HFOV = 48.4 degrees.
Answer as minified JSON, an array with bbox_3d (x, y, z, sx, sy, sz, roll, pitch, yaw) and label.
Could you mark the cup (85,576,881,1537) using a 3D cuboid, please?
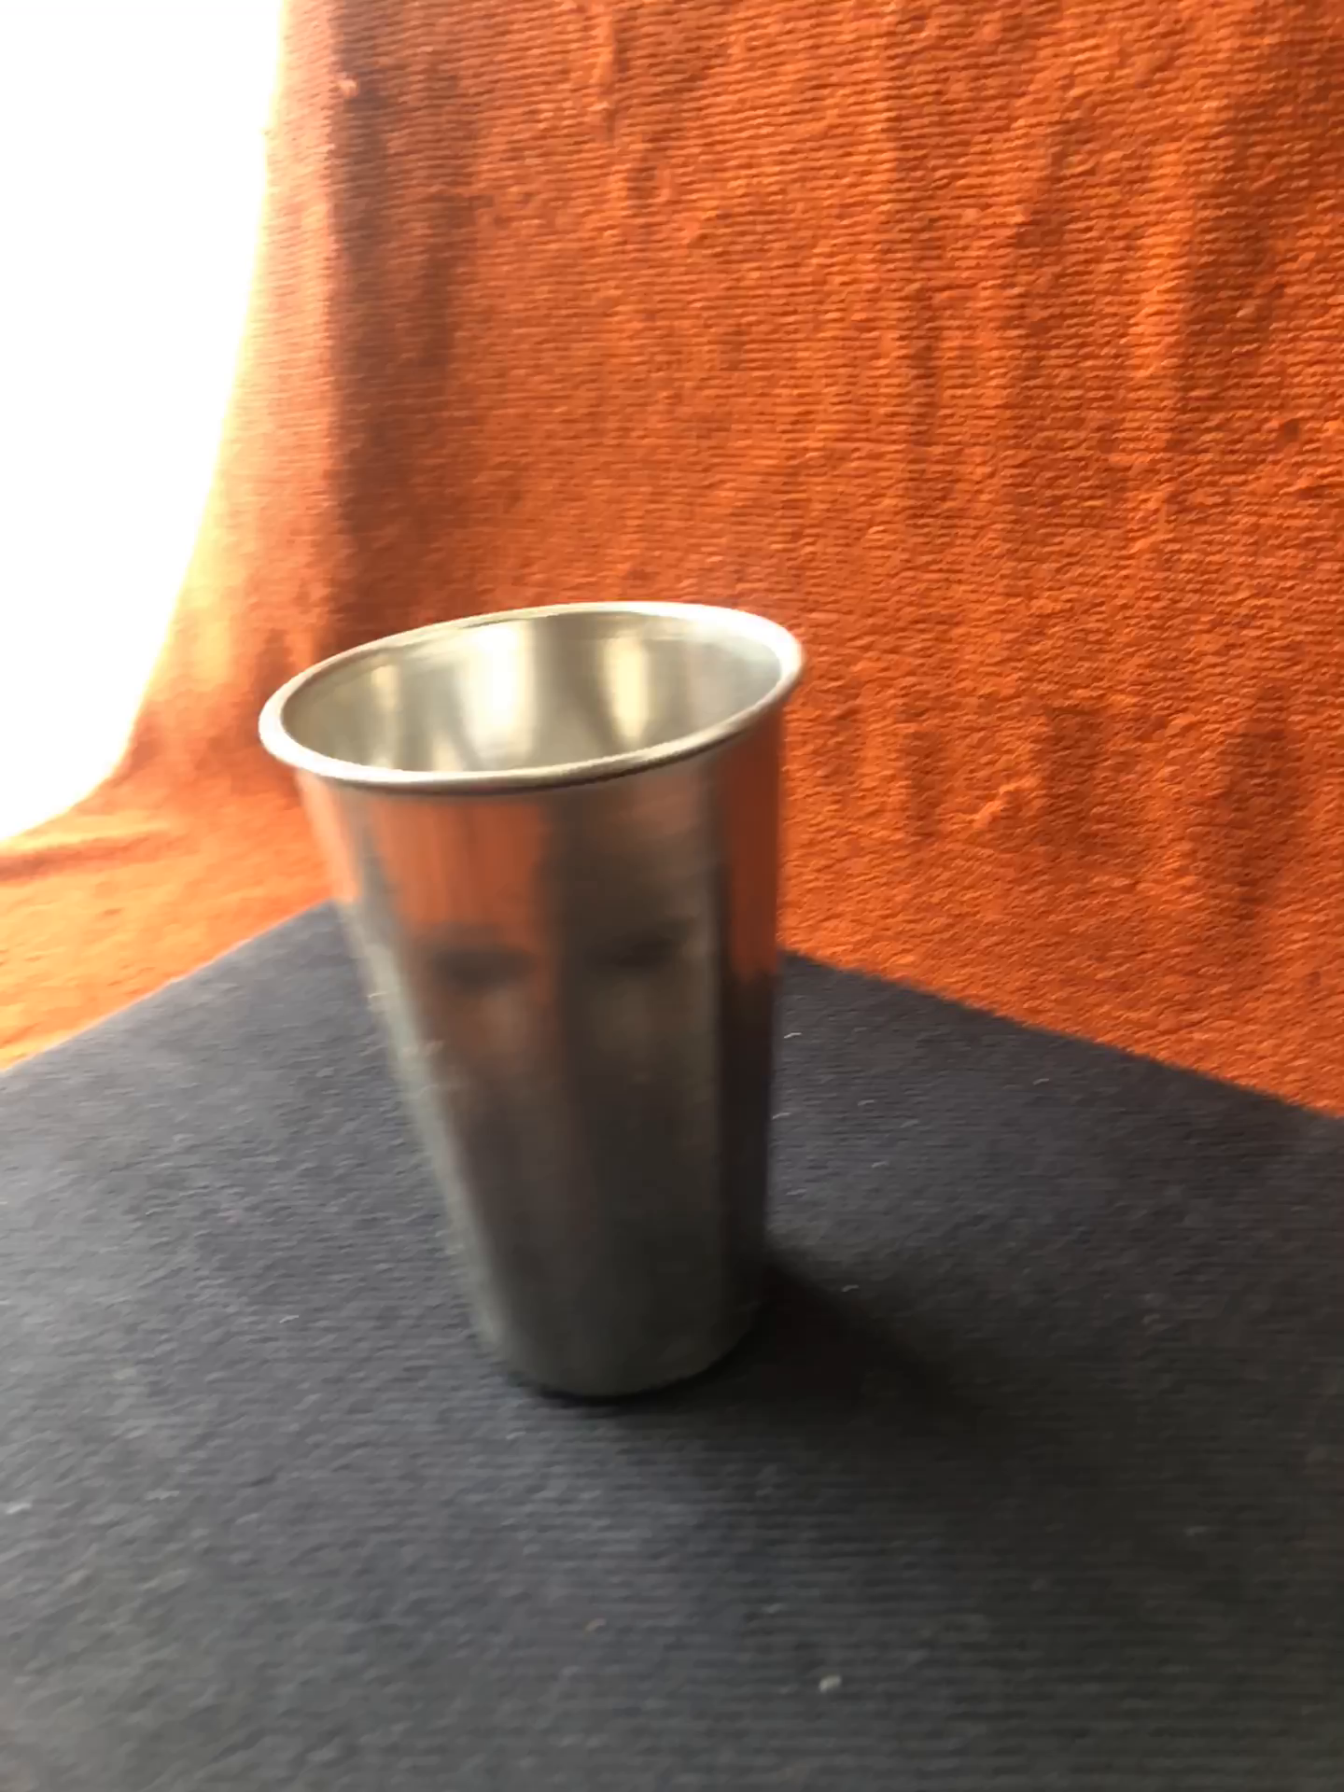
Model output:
[{"bbox_3d":[-0.020,0.015,0.212,0.070,0.100,0.070,-5,25,2],"label":"cup"}]
